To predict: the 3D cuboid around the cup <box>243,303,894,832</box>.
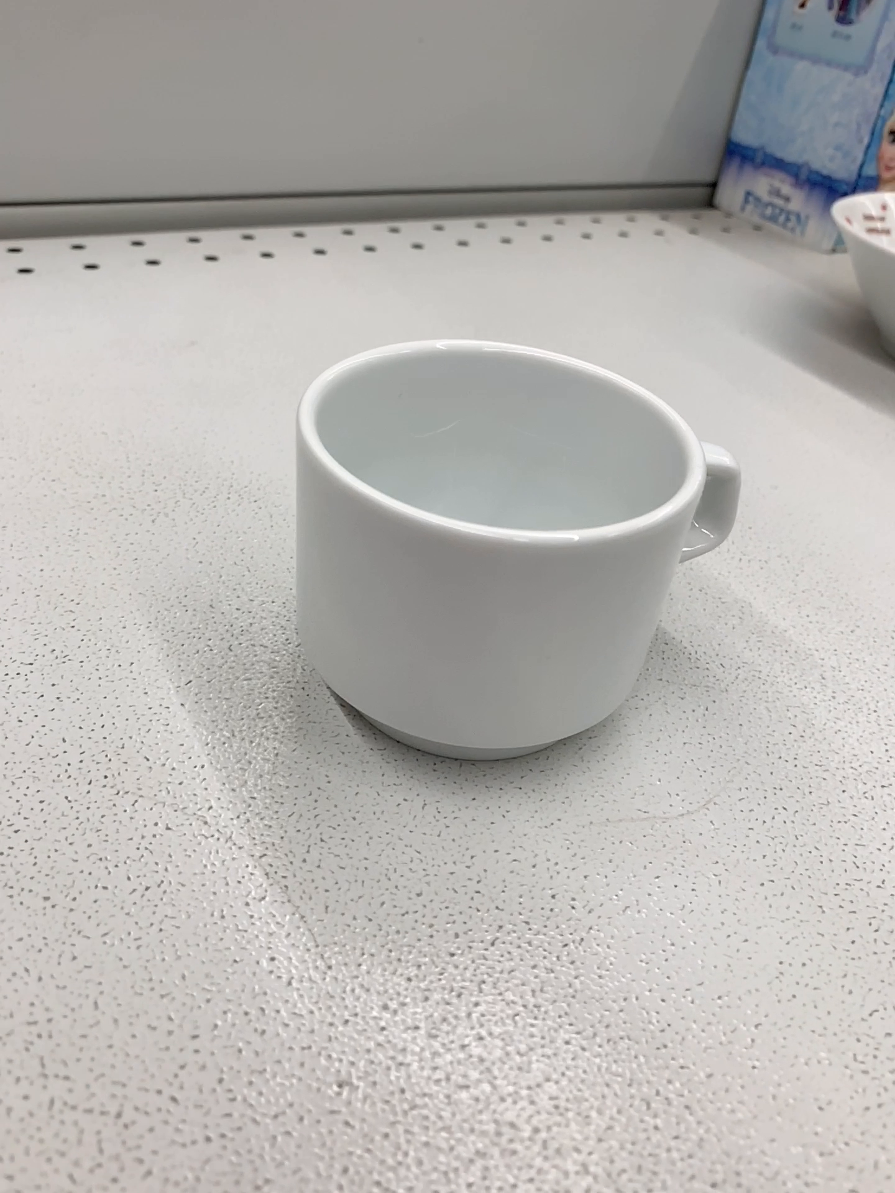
[{"bbox_3d":[0.021,-0.015,0.196,0.105,0.056,0.082,-12,42,-24],"label":"cup"}]
